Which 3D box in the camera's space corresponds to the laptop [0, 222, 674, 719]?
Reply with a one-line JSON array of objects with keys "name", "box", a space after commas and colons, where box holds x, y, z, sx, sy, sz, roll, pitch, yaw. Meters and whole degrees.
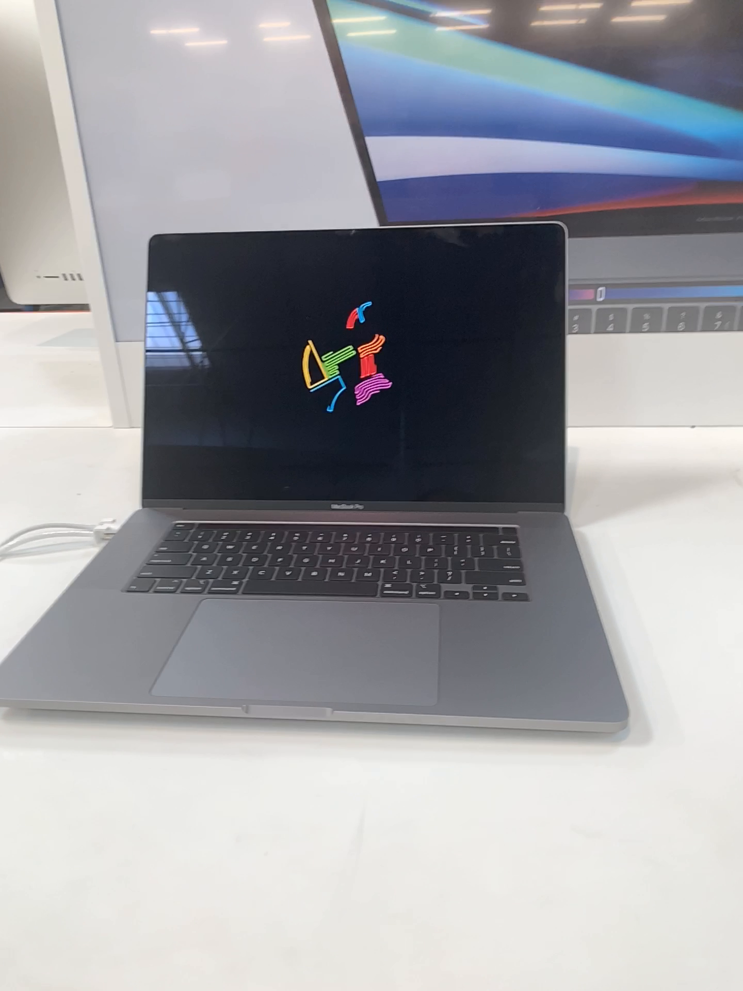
[{"name": "laptop", "box": [-0.030, -0.054, 0.510, 0.341, 0.203, 0.346, 0, 24, 6]}]
